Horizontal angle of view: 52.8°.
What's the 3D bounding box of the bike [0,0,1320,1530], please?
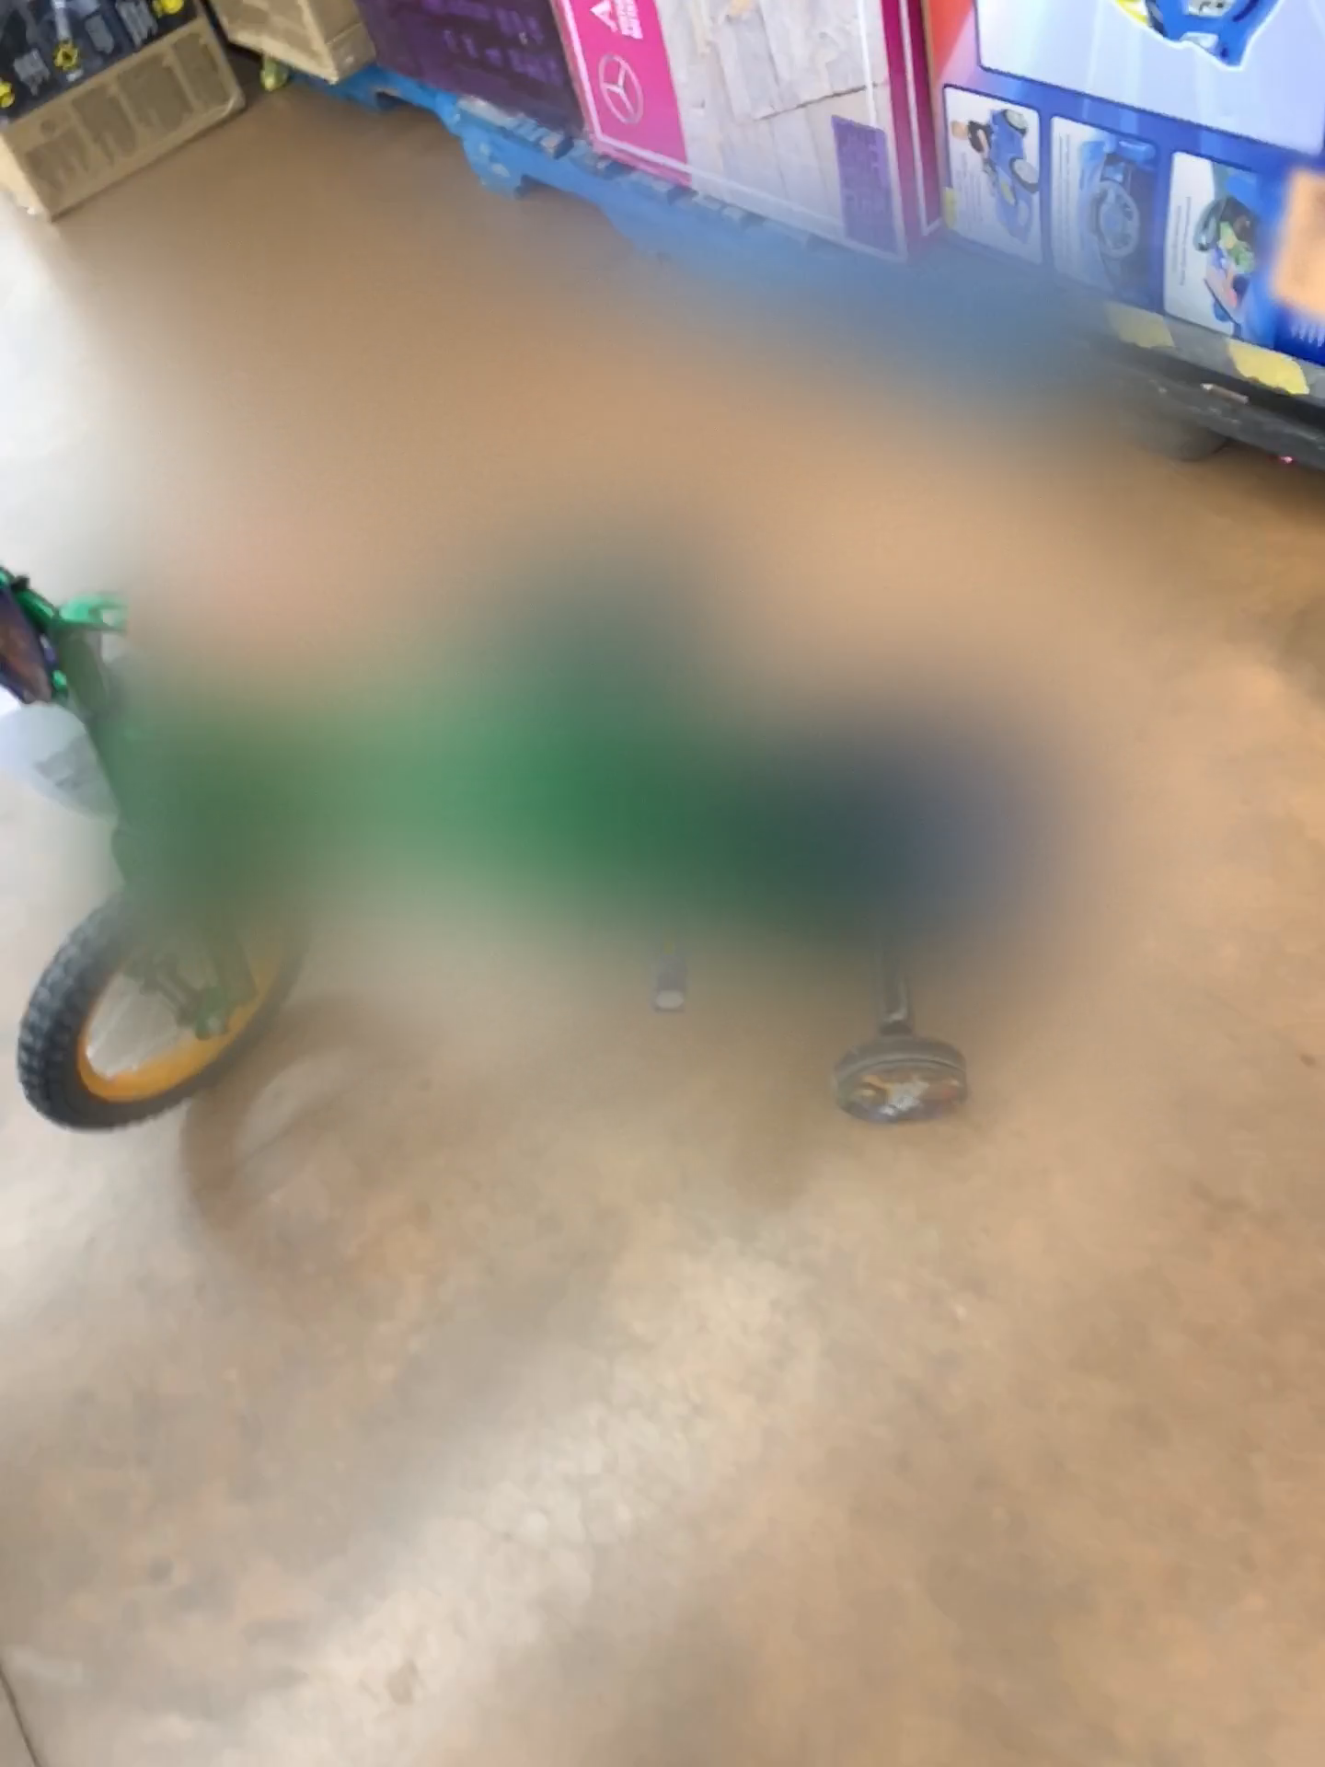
[{"bbox_3d":[-0.138,-0.060,0.844,0.850,0.733,0.491,-16,51,1],"label":"bike"}]
